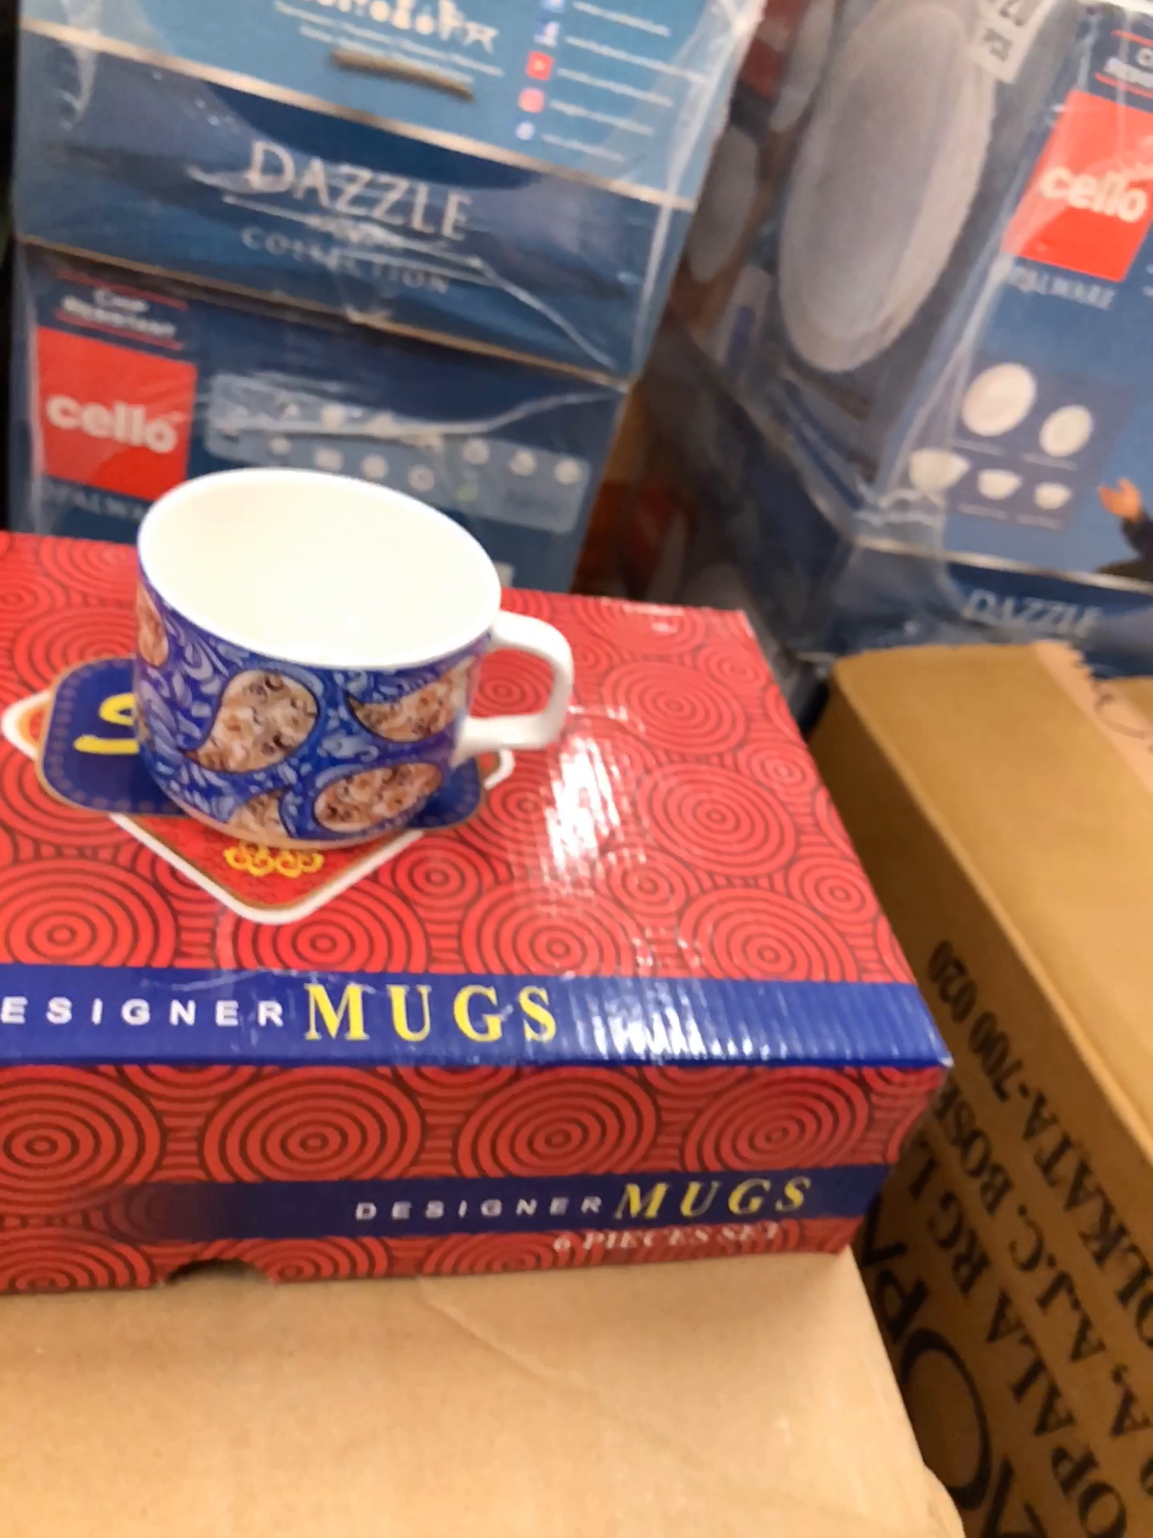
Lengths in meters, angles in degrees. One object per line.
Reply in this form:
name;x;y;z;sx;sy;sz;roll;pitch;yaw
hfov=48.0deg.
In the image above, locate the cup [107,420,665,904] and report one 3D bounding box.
cup;-0.041;-0.024;0.283;0.100;0.060;0.070;10;35;-12
